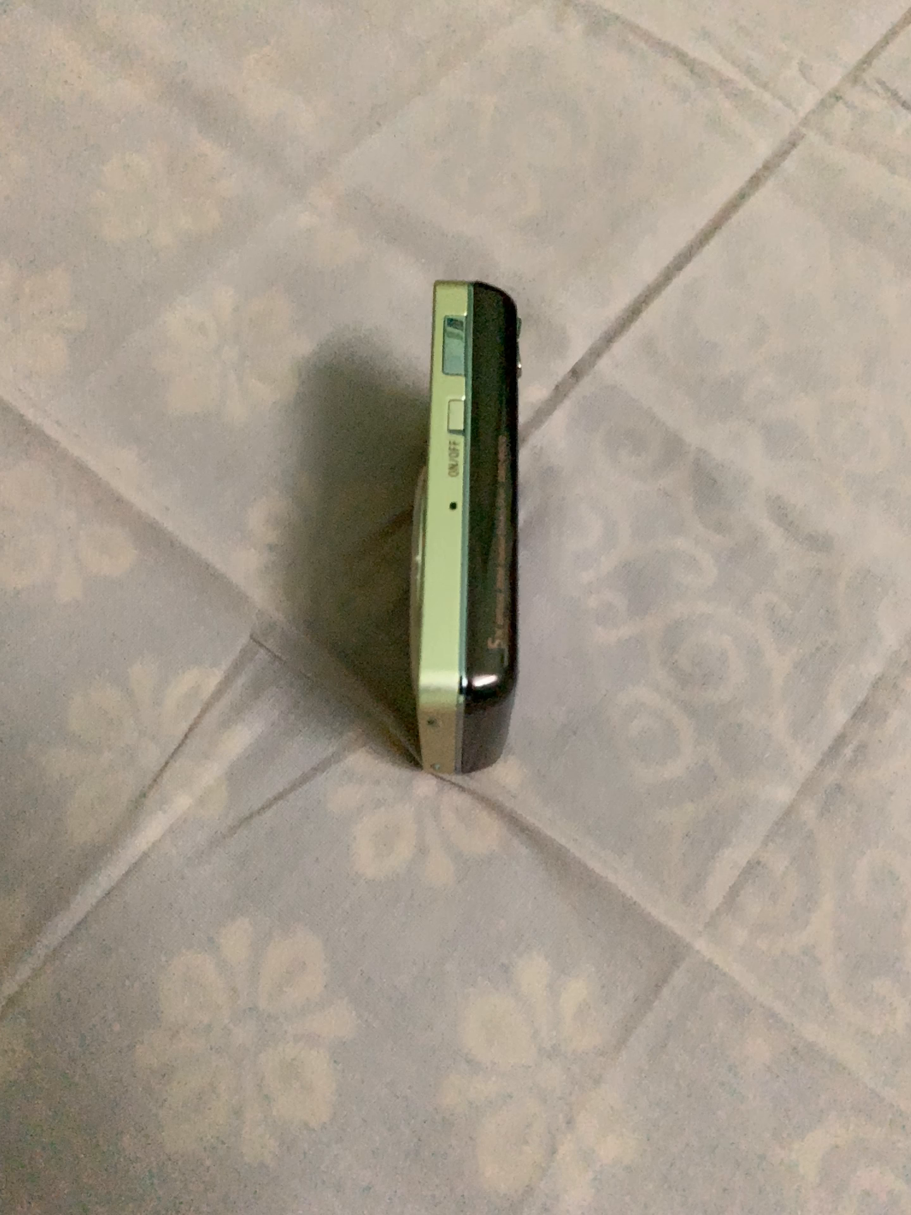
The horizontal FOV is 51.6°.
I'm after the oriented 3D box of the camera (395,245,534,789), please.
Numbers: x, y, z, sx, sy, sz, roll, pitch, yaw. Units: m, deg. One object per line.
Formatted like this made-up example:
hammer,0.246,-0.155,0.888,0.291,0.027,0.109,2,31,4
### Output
camera,0.001,-0.015,0.187,0.021,0.060,0.088,2,65,-1
